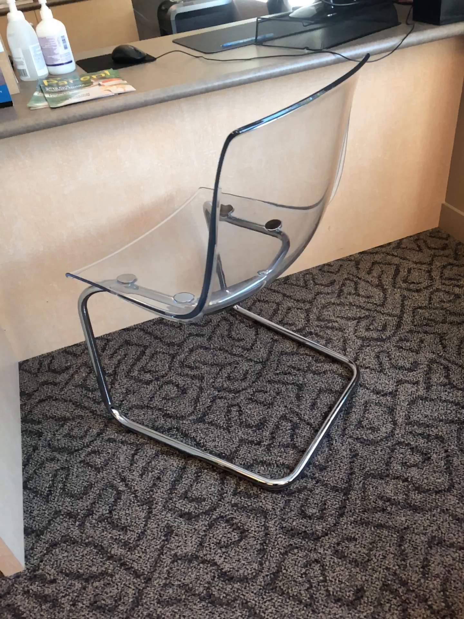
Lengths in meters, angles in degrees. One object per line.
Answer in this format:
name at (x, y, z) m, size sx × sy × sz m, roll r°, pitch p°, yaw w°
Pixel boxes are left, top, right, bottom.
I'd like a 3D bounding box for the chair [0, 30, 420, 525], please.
chair at (-0.037, -0.126, 1.161) m, size 0.642 × 0.804 × 0.602 m, roll 19°, pitch 44°, yaw 31°
